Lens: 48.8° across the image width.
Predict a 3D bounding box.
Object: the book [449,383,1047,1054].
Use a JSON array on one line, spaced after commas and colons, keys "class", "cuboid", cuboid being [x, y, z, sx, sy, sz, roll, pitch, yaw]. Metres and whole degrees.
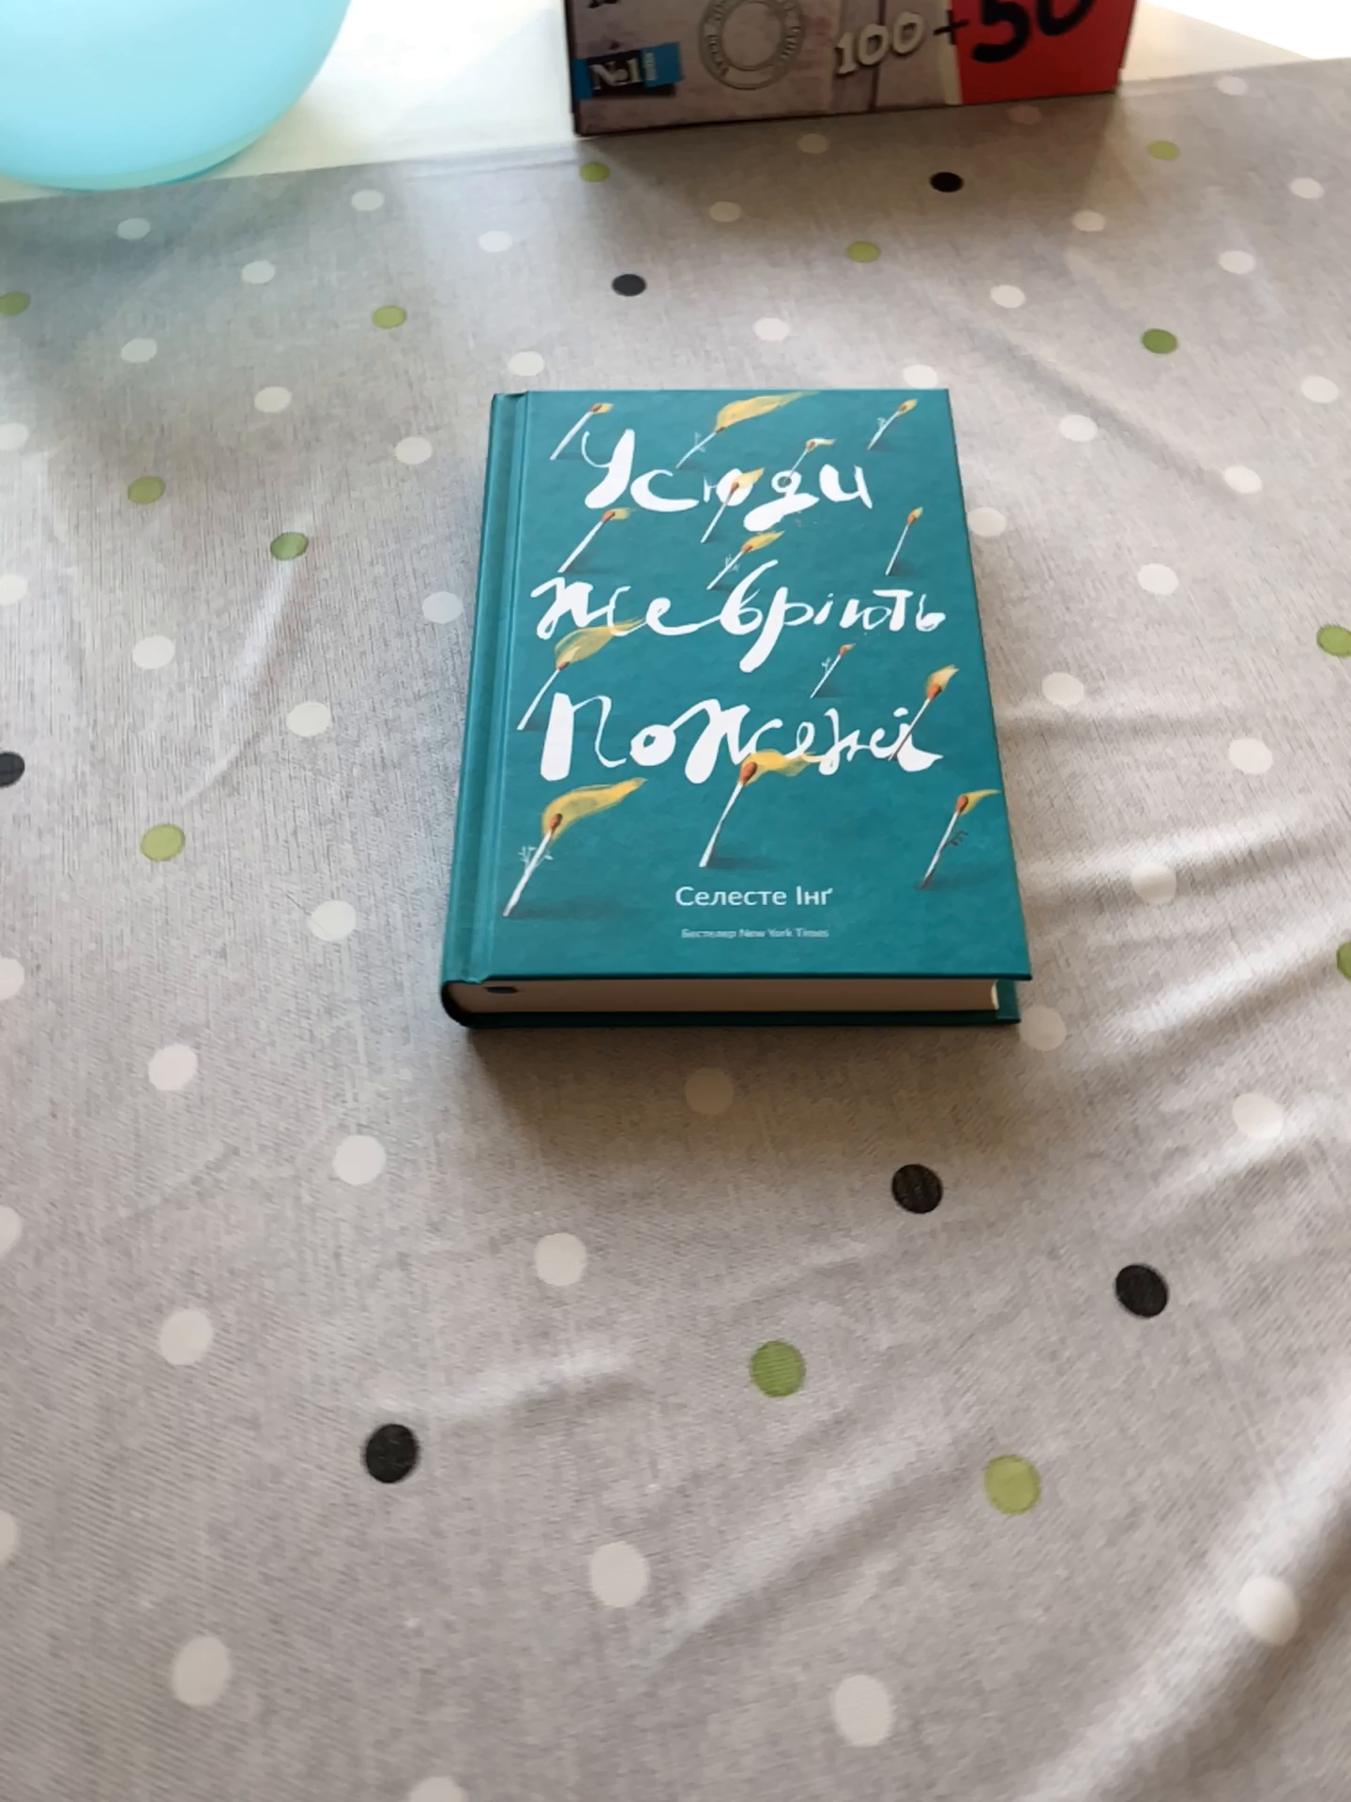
[{"class": "book", "cuboid": [0.017, -0.062, 0.430, 0.143, 0.040, 0.214, 0, 58, 0]}]
